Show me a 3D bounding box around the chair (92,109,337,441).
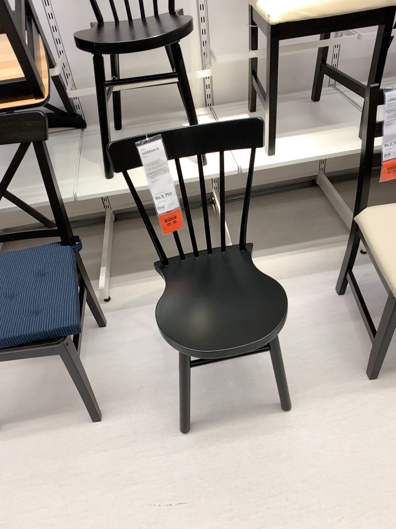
[{"bbox_3d":[0.029,0.055,1.213,0.470,0.787,0.522,-10,42,-3],"label":"chair"}]
